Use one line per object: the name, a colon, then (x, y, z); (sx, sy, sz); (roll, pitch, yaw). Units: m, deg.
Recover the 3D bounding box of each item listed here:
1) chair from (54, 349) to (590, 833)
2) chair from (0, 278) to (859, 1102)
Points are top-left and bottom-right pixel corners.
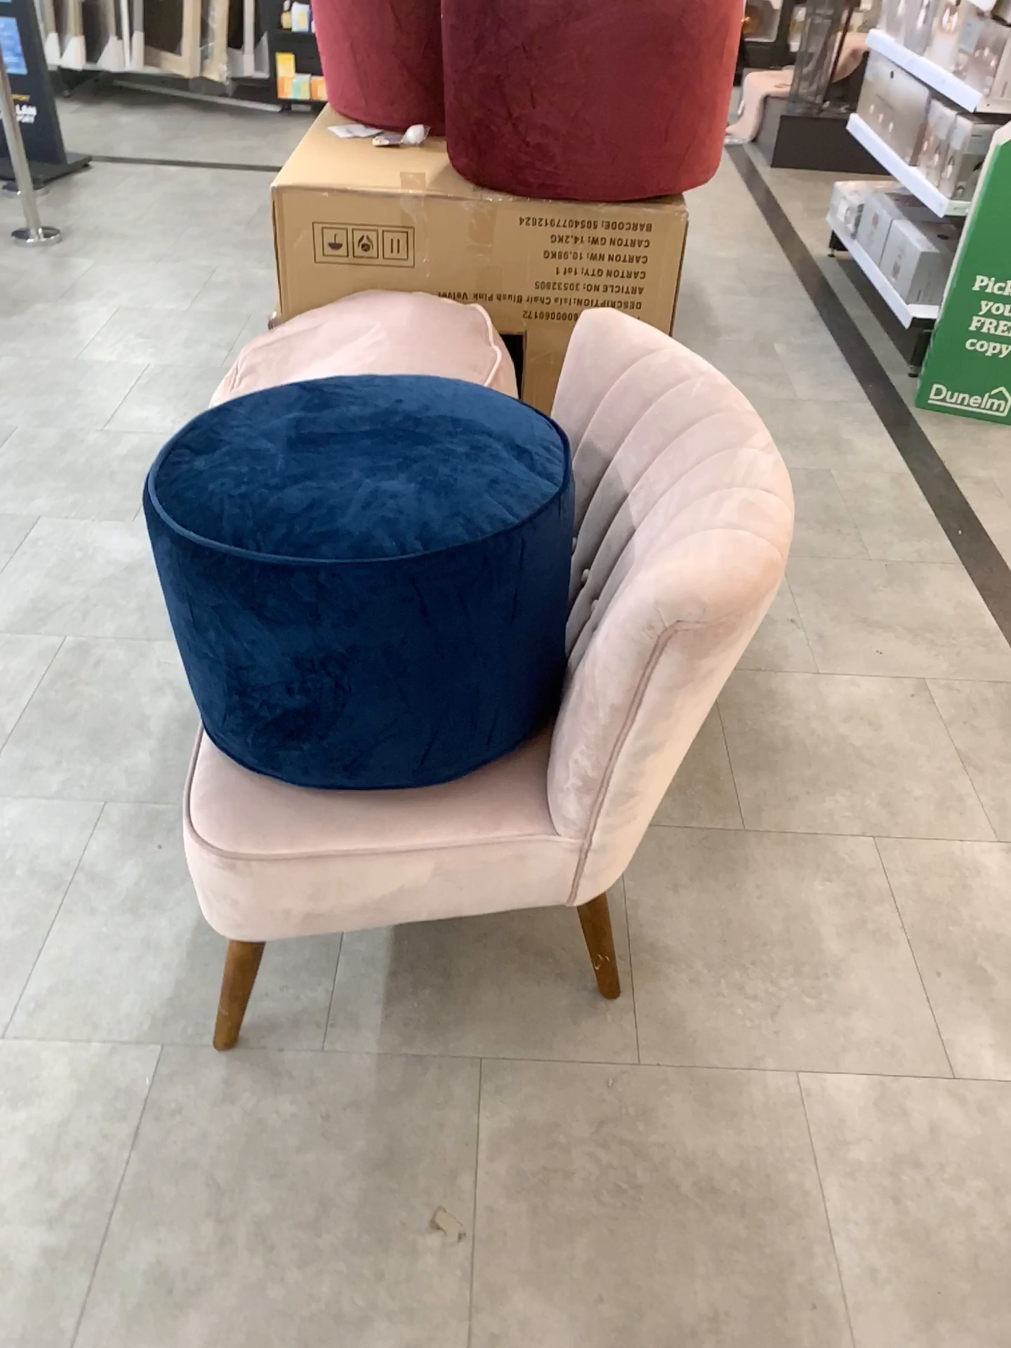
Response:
chair: (-0.173, -0.120, 1.246); (0.492, 0.340, 0.499); (2, 39, -1)
chair: (-0.092, 0.014, 1.337); (0.730, 0.772, 0.697); (2, 39, -1)
